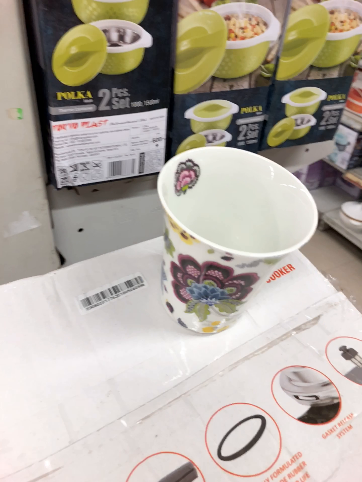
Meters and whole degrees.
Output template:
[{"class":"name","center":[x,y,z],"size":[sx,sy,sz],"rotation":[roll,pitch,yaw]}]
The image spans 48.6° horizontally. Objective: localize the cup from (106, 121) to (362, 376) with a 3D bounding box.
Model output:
[{"class":"cup","center":[0.030,-0.002,0.249],"size":[0.121,0.089,0.080],"rotation":[-29,61,-36]}]
